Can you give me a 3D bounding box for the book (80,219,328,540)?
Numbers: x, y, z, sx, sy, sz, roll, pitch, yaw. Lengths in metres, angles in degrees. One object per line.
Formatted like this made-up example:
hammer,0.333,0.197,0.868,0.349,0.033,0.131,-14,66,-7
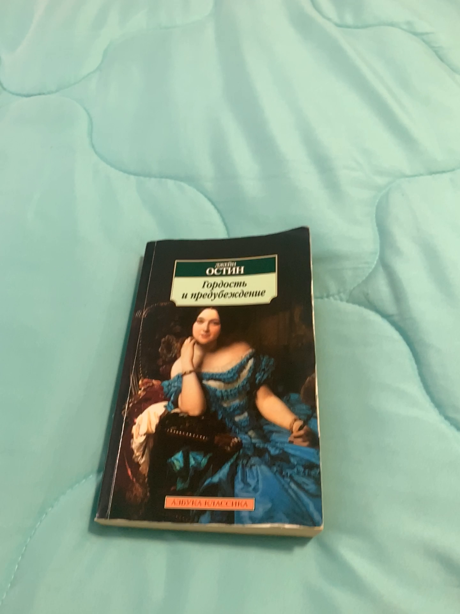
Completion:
book,-0.007,0.032,0.274,0.110,0.044,0.174,3,59,2
